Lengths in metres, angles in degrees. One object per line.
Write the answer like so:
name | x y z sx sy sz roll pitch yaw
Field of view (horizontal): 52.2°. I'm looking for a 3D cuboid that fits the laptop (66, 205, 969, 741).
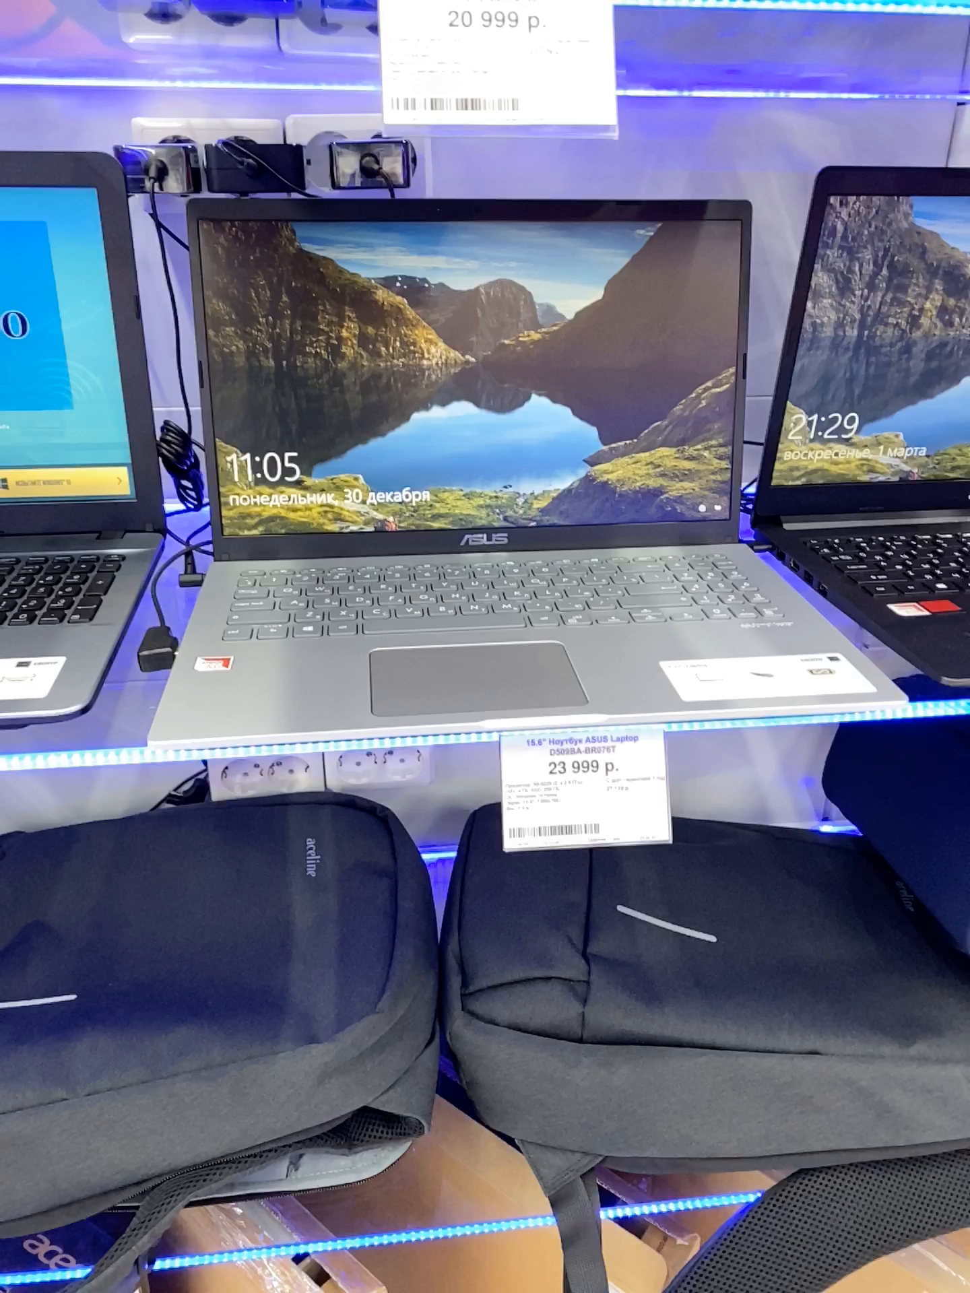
laptop | 0.015 -0.123 0.542 0.360 0.216 0.287 -2 24 -6
